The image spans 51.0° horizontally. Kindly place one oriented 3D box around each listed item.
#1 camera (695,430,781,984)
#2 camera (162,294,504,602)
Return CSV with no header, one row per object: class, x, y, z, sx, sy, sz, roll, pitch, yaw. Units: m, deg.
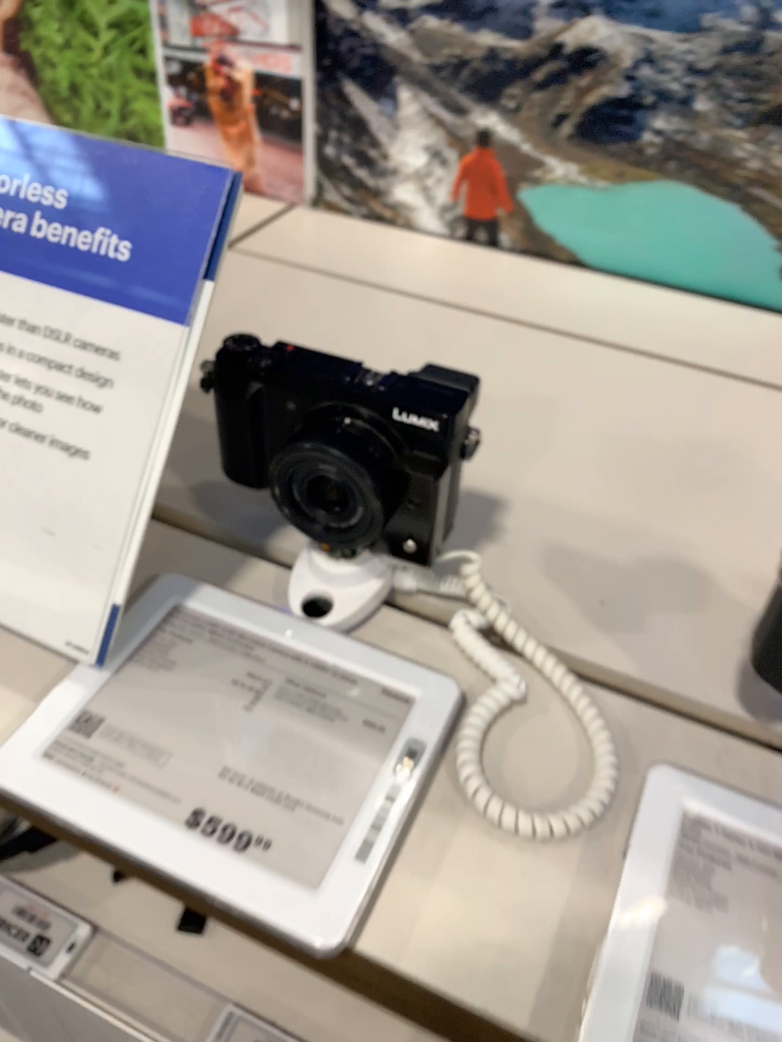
camera,0.181,0.051,0.269,0.120,0.080,0.120,18,44,16
camera,-0.024,-0.035,0.359,0.120,0.080,0.070,19,44,16
